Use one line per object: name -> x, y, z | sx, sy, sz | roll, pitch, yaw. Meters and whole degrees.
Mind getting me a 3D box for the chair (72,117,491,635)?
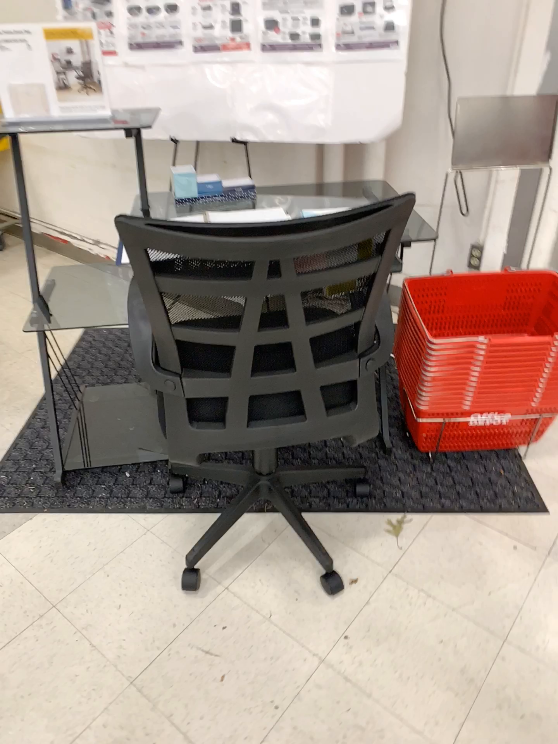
chair -> -0.036, -0.027, 1.358 | 0.614, 0.942, 0.698 | -7, 33, -9
